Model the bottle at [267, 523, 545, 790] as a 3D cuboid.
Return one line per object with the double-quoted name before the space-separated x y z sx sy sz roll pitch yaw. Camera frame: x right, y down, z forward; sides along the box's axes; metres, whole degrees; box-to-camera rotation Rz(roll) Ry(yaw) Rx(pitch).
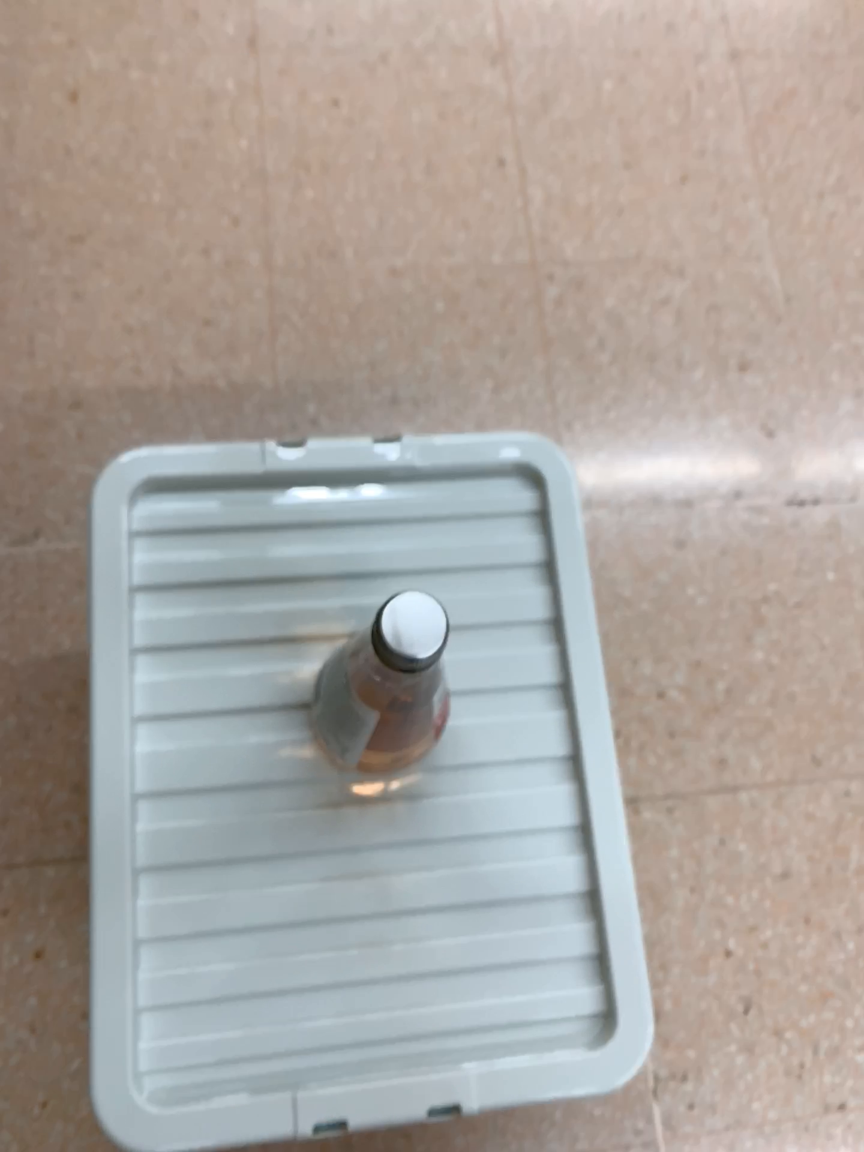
"bottle" -0.026 0.061 0.473 0.090 0.301 0.081 -7 77 -8
